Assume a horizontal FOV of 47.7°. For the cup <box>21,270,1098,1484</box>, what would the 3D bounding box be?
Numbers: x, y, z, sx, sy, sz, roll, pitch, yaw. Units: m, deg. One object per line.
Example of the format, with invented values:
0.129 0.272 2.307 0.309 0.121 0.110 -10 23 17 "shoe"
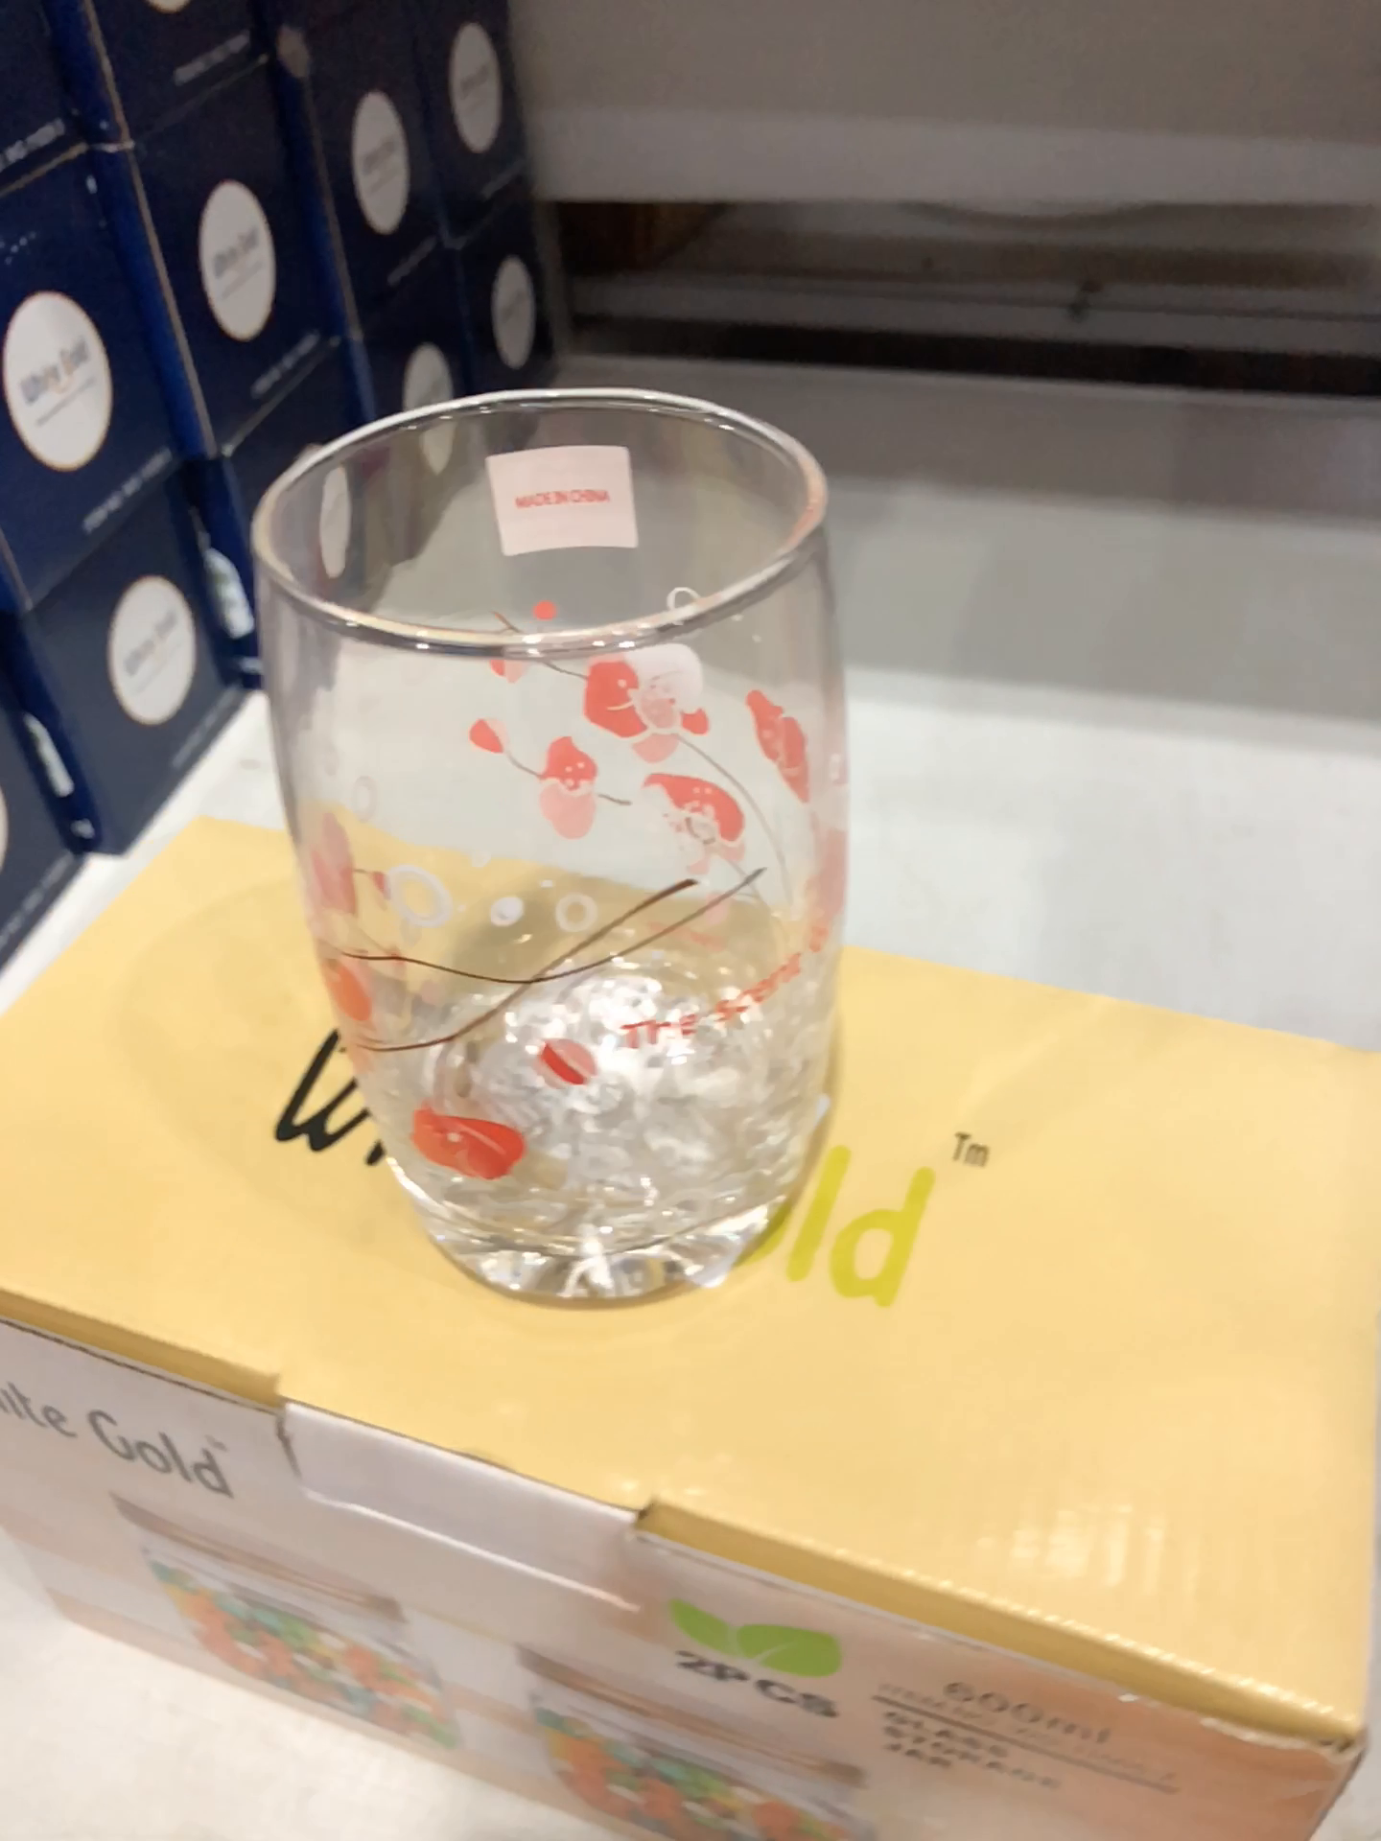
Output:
-0.007 -0.007 0.197 0.080 0.109 0.080 -3 42 2 "cup"
